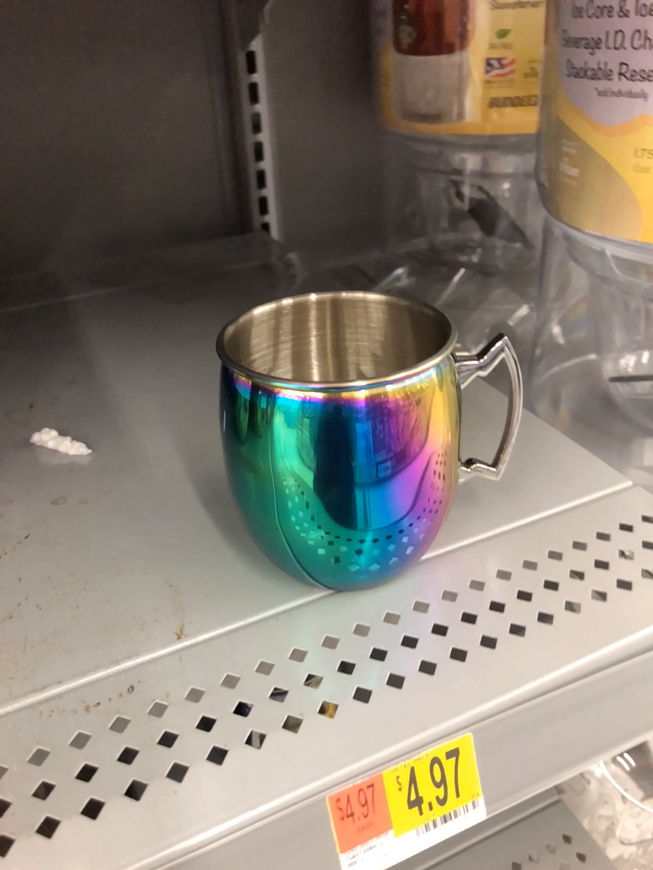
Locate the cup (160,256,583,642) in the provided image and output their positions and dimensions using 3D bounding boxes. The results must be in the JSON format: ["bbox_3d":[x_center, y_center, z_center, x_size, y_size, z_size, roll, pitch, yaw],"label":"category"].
[{"bbox_3d":[0.014,-0.004,0.312,0.133,0.097,0.104,-15,34,-19],"label":"cup"}]
